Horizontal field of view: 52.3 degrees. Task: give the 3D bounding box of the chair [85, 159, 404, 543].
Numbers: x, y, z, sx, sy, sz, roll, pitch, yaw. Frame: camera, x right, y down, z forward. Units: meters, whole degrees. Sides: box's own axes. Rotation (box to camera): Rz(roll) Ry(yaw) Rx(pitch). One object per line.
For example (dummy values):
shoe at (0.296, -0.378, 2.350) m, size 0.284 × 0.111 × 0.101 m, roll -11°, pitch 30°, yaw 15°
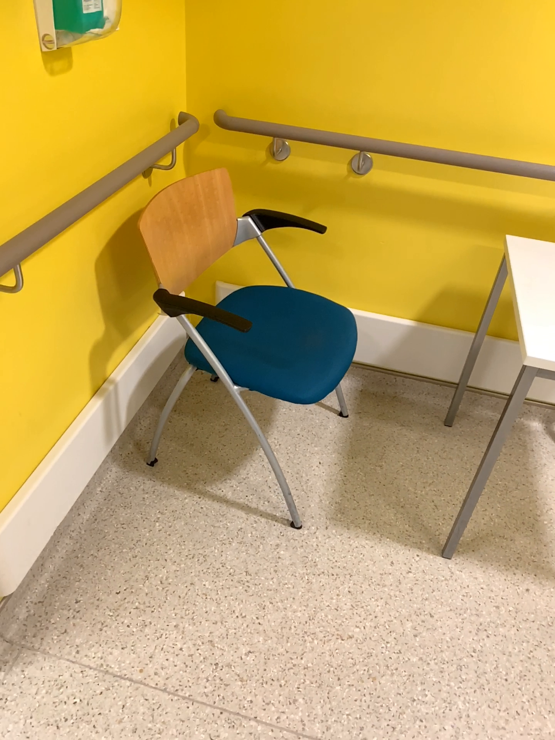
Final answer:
chair at (-0.069, -0.074, 1.610) m, size 0.590 × 0.779 × 0.575 m, roll 17°, pitch 39°, yaw 16°
